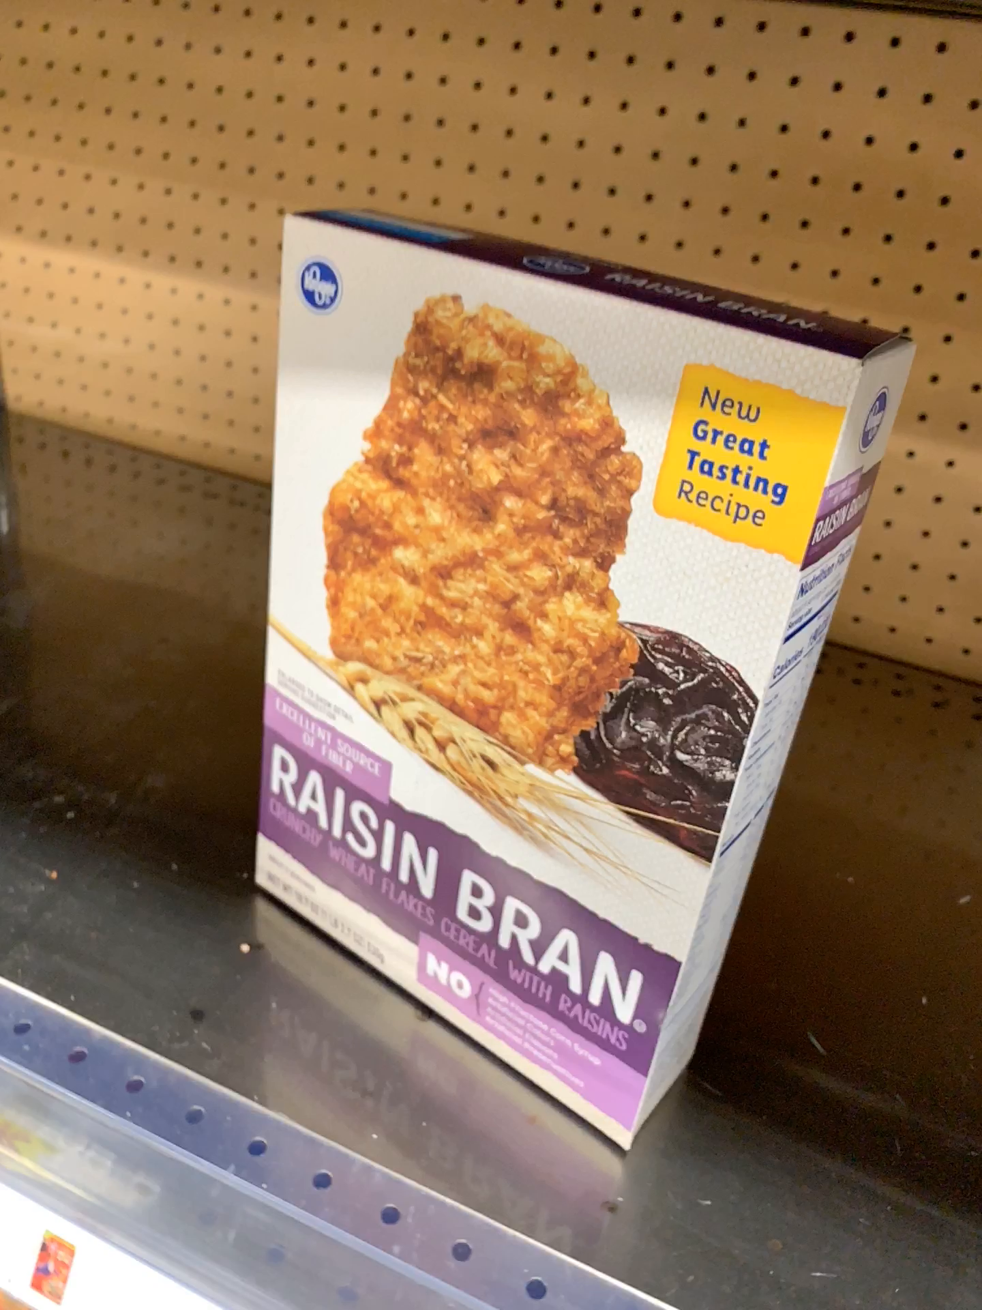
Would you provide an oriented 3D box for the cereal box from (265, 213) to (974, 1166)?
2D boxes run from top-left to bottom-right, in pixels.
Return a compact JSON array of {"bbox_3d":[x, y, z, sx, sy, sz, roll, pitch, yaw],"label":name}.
[{"bbox_3d":[0.013,0.012,0.348,0.190,0.269,0.050,25,32,28],"label":"cereal box"}]
